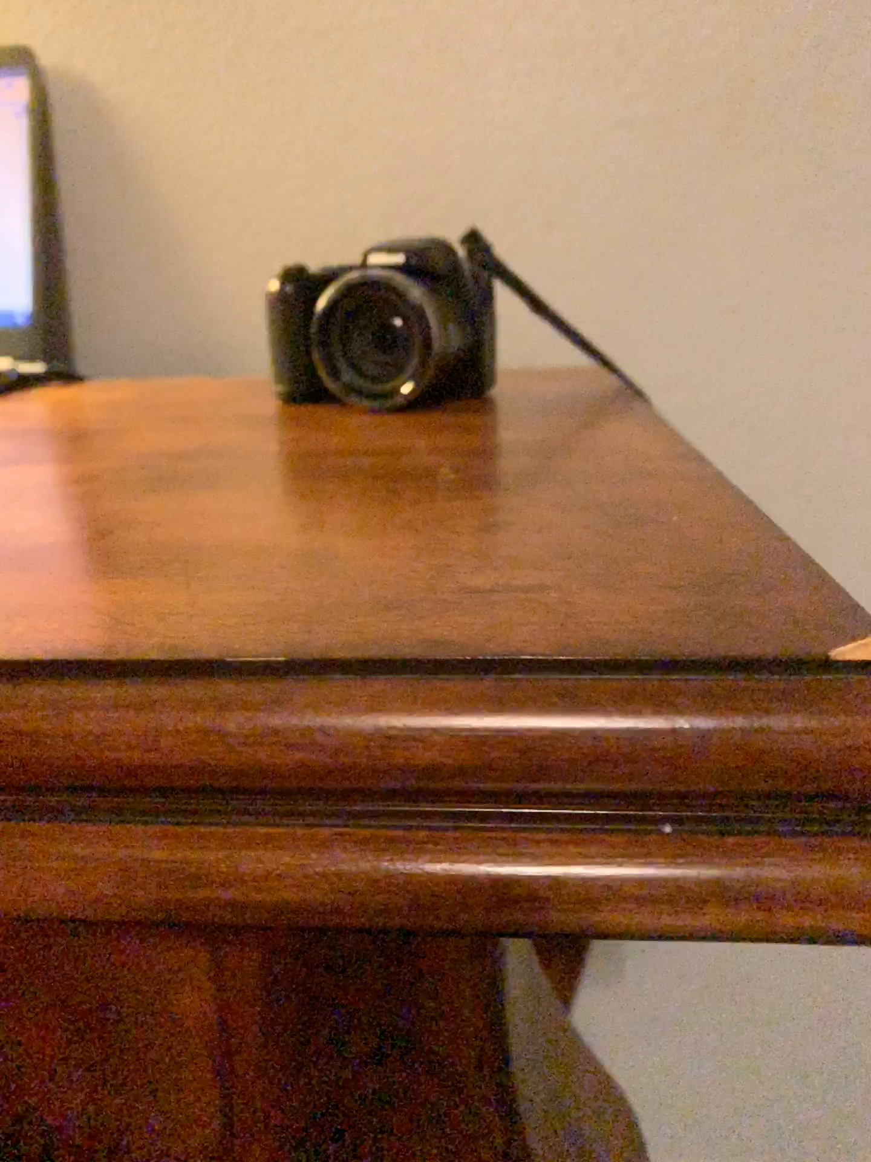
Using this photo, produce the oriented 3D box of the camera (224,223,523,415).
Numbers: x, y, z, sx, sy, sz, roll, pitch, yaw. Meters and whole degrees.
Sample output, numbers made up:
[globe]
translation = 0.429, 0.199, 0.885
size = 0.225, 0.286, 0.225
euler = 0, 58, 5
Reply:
[camera]
translation = -0.025, -0.135, 0.479
size = 0.110, 0.081, 0.123
euler = 3, 17, 20
